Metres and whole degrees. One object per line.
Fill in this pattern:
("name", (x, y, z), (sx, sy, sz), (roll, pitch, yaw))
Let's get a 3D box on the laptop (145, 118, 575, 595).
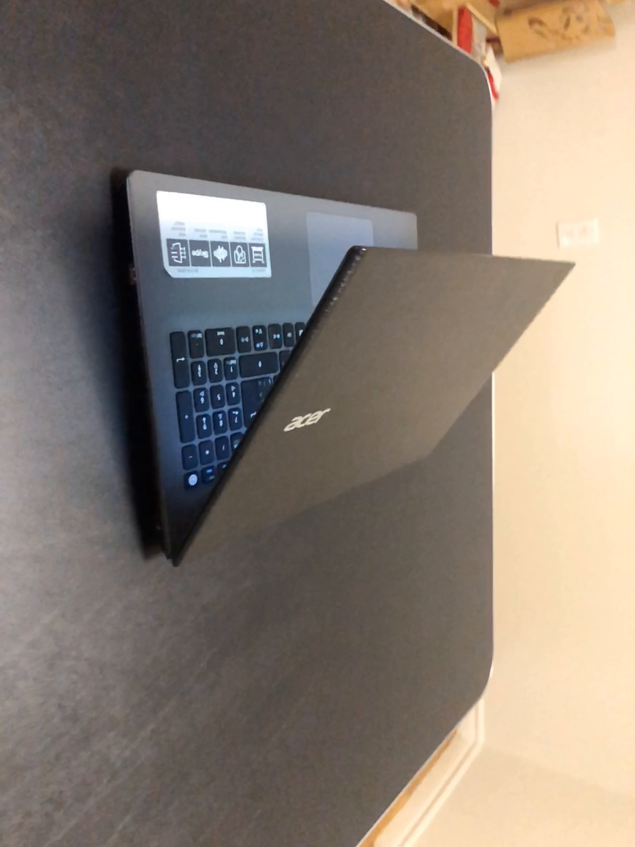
("laptop", (0.073, -0.063, 0.560), (0.371, 0.155, 0.251), (-16, 106, -53))
